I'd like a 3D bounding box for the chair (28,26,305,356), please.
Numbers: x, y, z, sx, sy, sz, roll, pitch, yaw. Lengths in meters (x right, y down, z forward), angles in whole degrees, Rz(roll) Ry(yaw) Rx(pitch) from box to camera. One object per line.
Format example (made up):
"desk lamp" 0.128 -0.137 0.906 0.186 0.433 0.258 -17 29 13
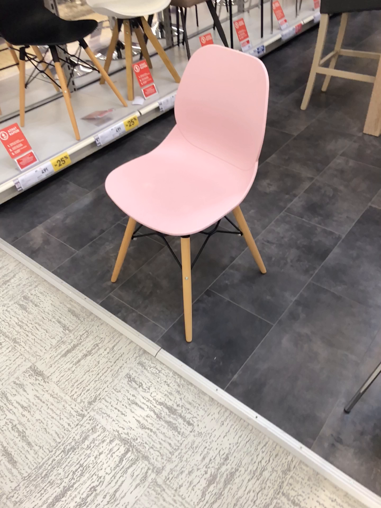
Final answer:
"chair" -0.045 -0.219 1.455 0.552 0.846 0.552 32 54 33
